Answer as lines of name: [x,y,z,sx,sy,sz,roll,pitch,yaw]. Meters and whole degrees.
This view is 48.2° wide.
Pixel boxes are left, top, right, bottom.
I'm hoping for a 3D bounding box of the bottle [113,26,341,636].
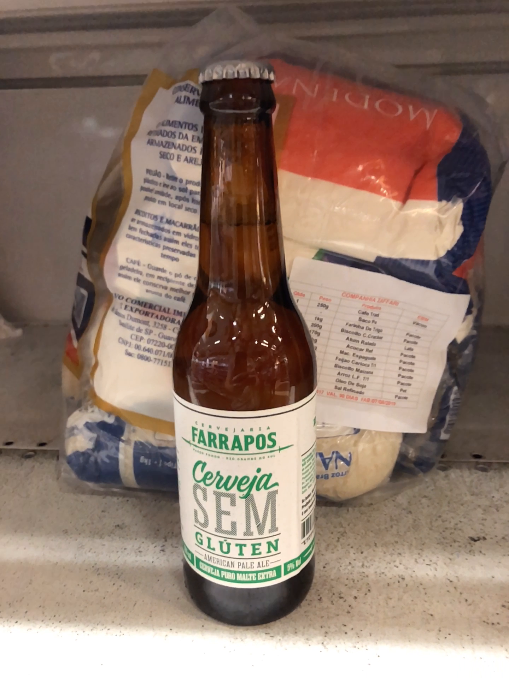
bottle: [-0.004,0.006,0.236,0.070,0.229,0.060,1,18,7]
